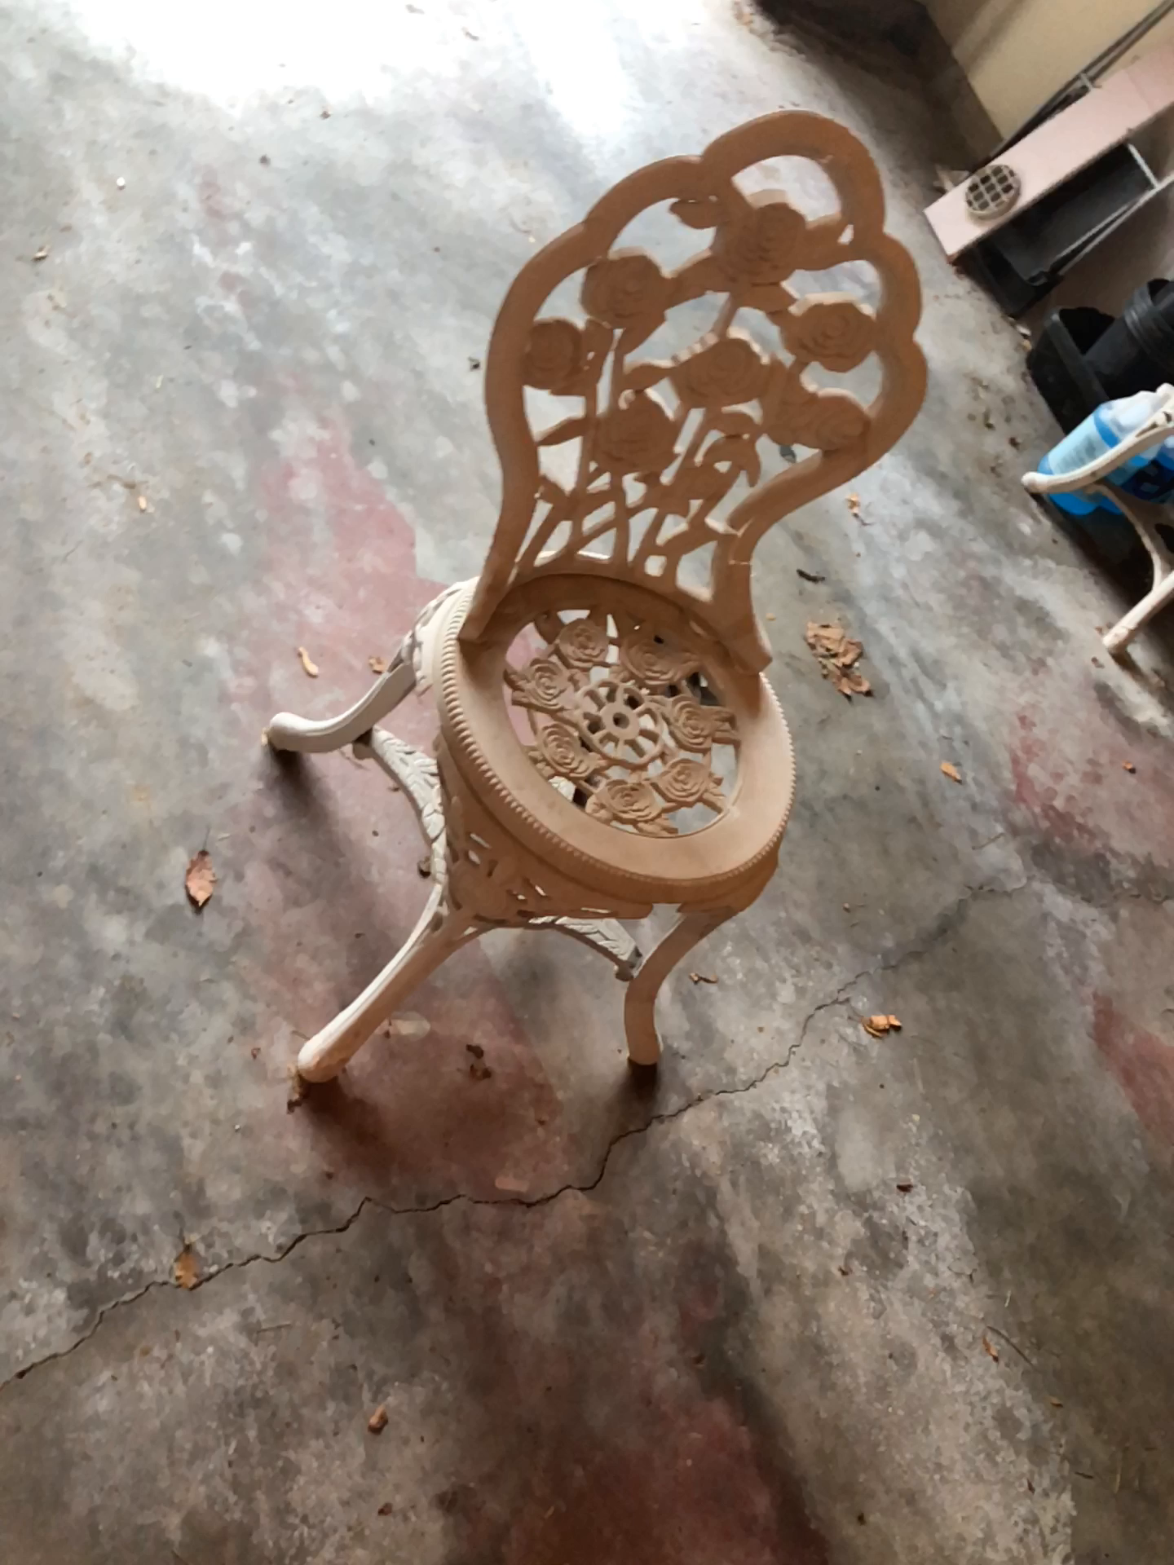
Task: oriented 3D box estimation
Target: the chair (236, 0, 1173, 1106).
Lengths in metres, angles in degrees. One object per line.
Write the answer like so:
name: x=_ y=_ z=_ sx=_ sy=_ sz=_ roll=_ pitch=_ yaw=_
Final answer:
chair: x=0.053 y=-0.096 z=1.226 sx=0.492 sy=0.898 sz=0.499 roll=3 pitch=59 yaw=-31
